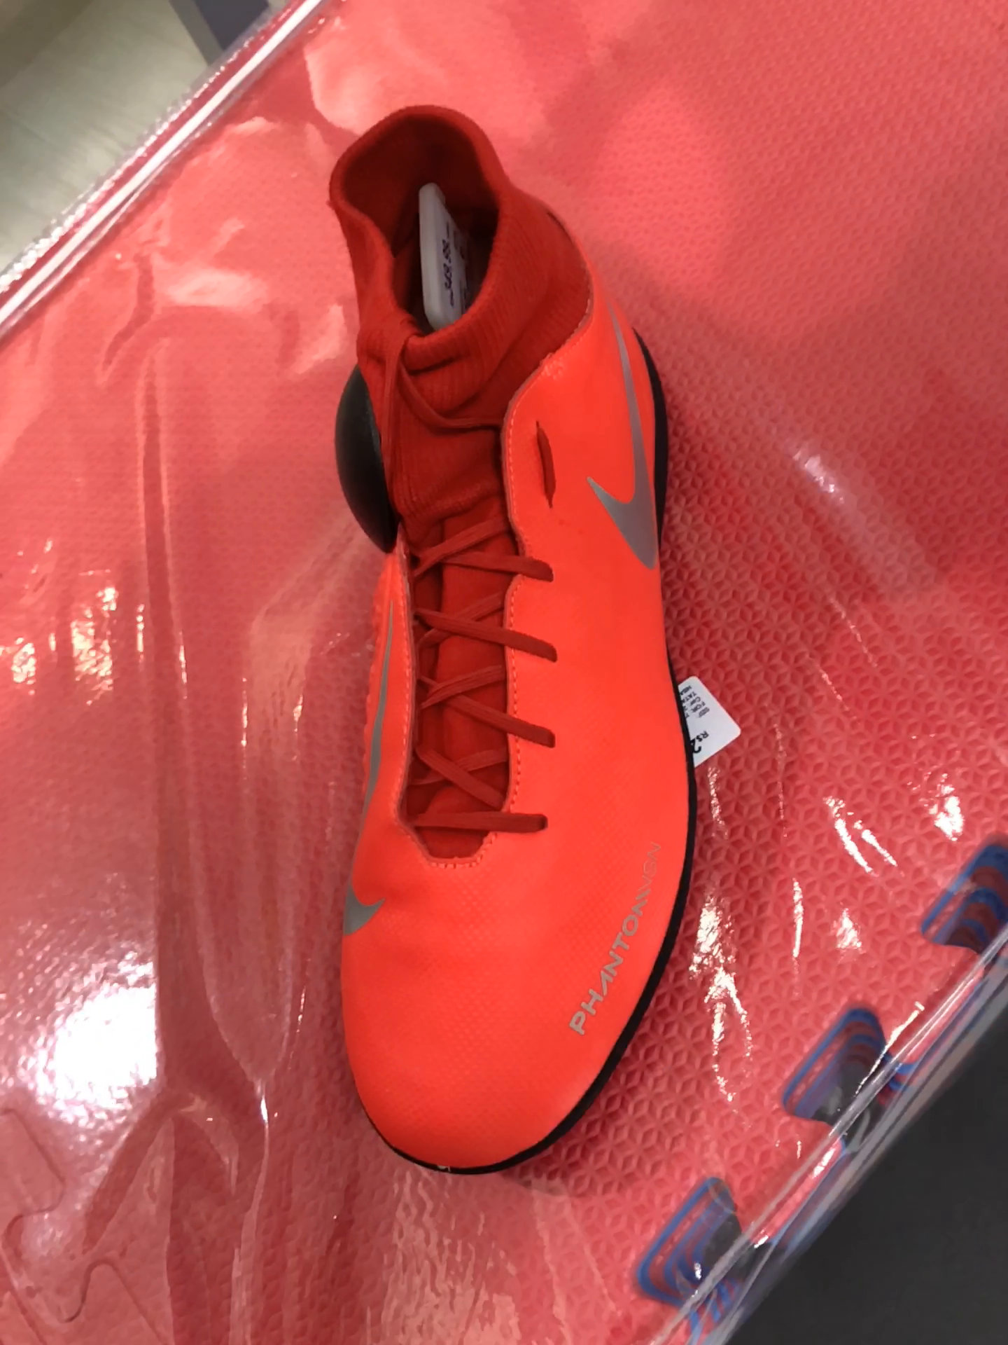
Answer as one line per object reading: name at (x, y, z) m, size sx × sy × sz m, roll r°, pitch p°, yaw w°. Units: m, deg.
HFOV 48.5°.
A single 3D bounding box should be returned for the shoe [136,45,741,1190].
shoe at (0.007, -0.012, 0.283) m, size 0.090 × 0.120 × 0.251 m, roll -3°, pitch 63°, yaw 17°
